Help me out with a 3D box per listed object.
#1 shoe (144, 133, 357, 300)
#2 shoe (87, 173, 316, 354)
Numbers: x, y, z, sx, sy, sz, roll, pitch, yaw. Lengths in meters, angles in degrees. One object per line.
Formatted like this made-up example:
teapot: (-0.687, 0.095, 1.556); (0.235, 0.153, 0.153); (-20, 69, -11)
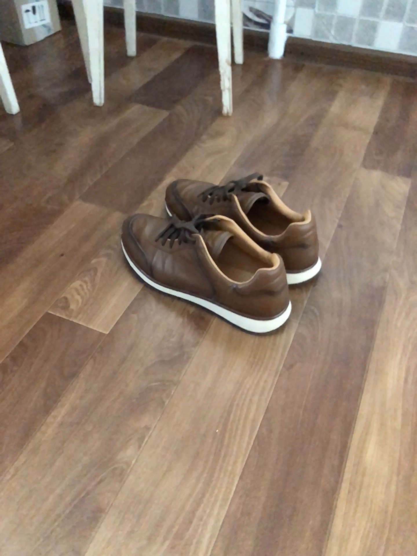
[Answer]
shoe: (0.049, -0.098, 0.660); (0.281, 0.089, 0.110); (32, 54, 26)
shoe: (-0.016, -0.030, 0.604); (0.281, 0.089, 0.100); (28, 52, 23)
